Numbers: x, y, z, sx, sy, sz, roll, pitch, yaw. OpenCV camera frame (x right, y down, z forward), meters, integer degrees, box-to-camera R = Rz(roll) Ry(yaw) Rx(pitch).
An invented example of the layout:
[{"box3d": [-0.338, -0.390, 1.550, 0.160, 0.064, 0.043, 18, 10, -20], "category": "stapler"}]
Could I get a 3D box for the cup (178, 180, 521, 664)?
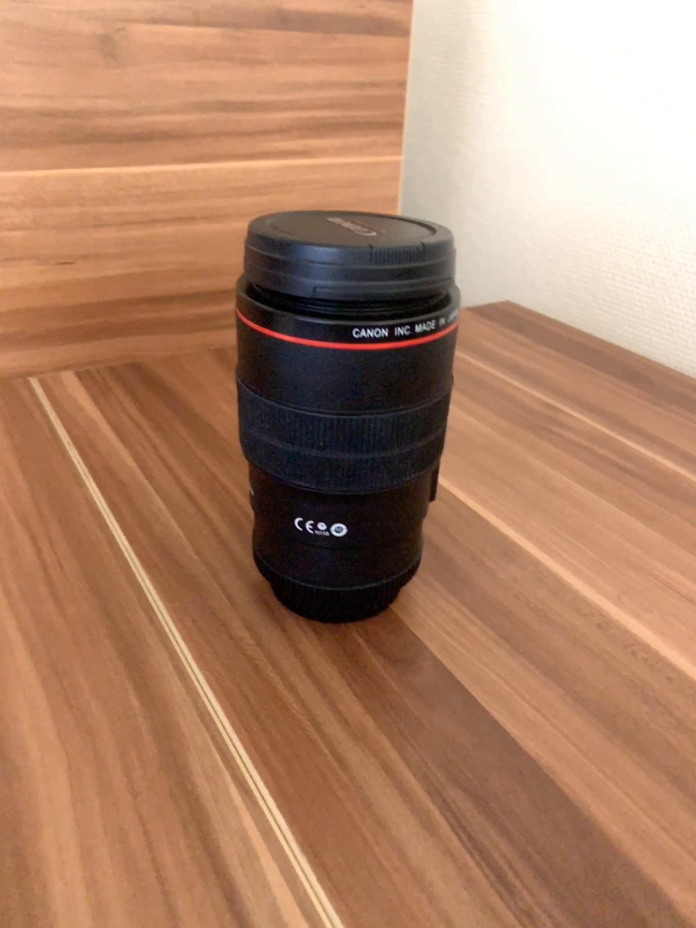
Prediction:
[{"box3d": [-0.002, -0.019, 0.257, 0.080, 0.139, 0.070, 26, 37, 35], "category": "cup"}]
